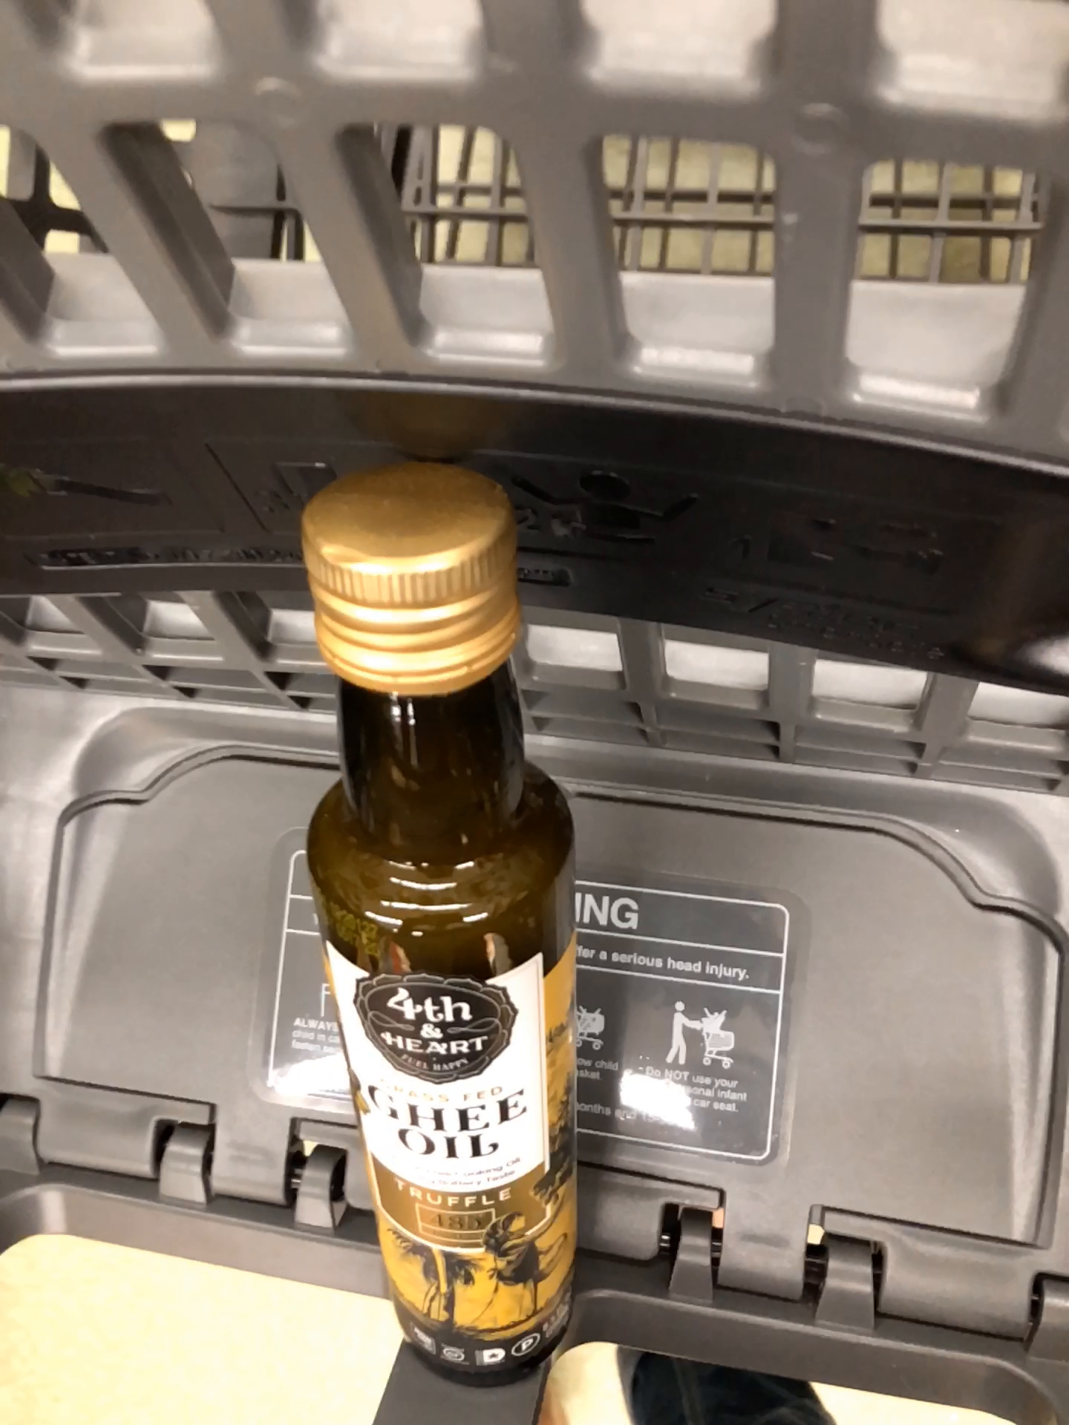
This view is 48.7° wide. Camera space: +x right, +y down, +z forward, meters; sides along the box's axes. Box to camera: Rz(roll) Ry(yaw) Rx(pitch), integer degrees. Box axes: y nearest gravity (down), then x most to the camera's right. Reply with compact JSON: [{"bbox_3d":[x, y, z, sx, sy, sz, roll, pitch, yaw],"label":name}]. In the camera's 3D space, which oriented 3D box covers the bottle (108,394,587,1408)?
[{"bbox_3d":[-0.020,0.064,0.248,0.054,0.050,0.251,5,130,10],"label":"bottle"}]
